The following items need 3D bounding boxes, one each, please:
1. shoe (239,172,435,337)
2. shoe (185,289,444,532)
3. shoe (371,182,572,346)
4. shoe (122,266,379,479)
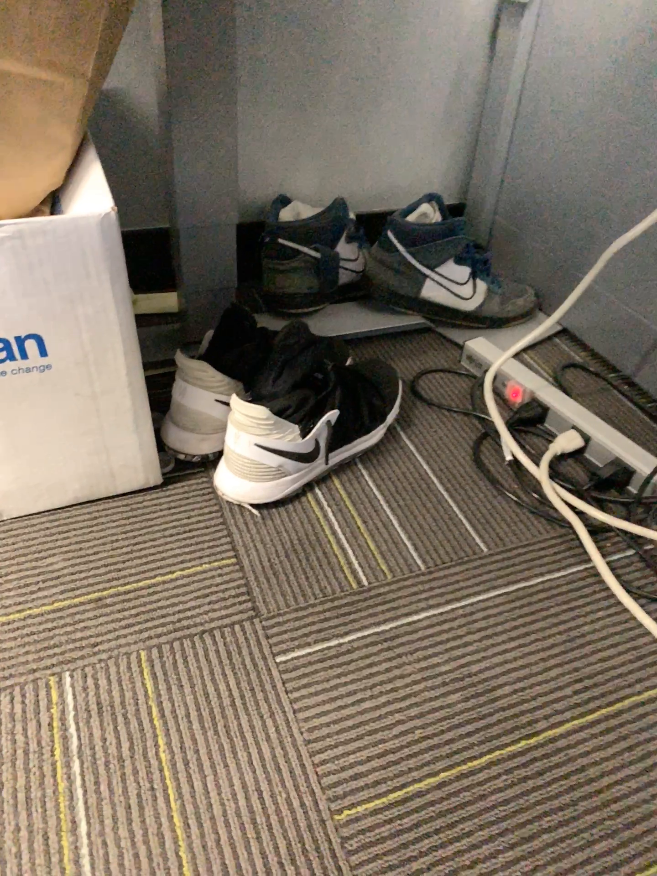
[{"bbox_3d":[0.020,-0.310,1.093,0.130,0.169,0.331,27,37,25],"label":"shoe"},{"bbox_3d":[-0.007,-0.043,0.747,0.100,0.129,0.291,32,47,29],"label":"shoe"},{"bbox_3d":[0.214,-0.274,1.067,0.260,0.159,0.131,12,39,-4],"label":"shoe"},{"bbox_3d":[-0.083,-0.091,0.821,0.301,0.129,0.100,-30,51,-35],"label":"shoe"}]
